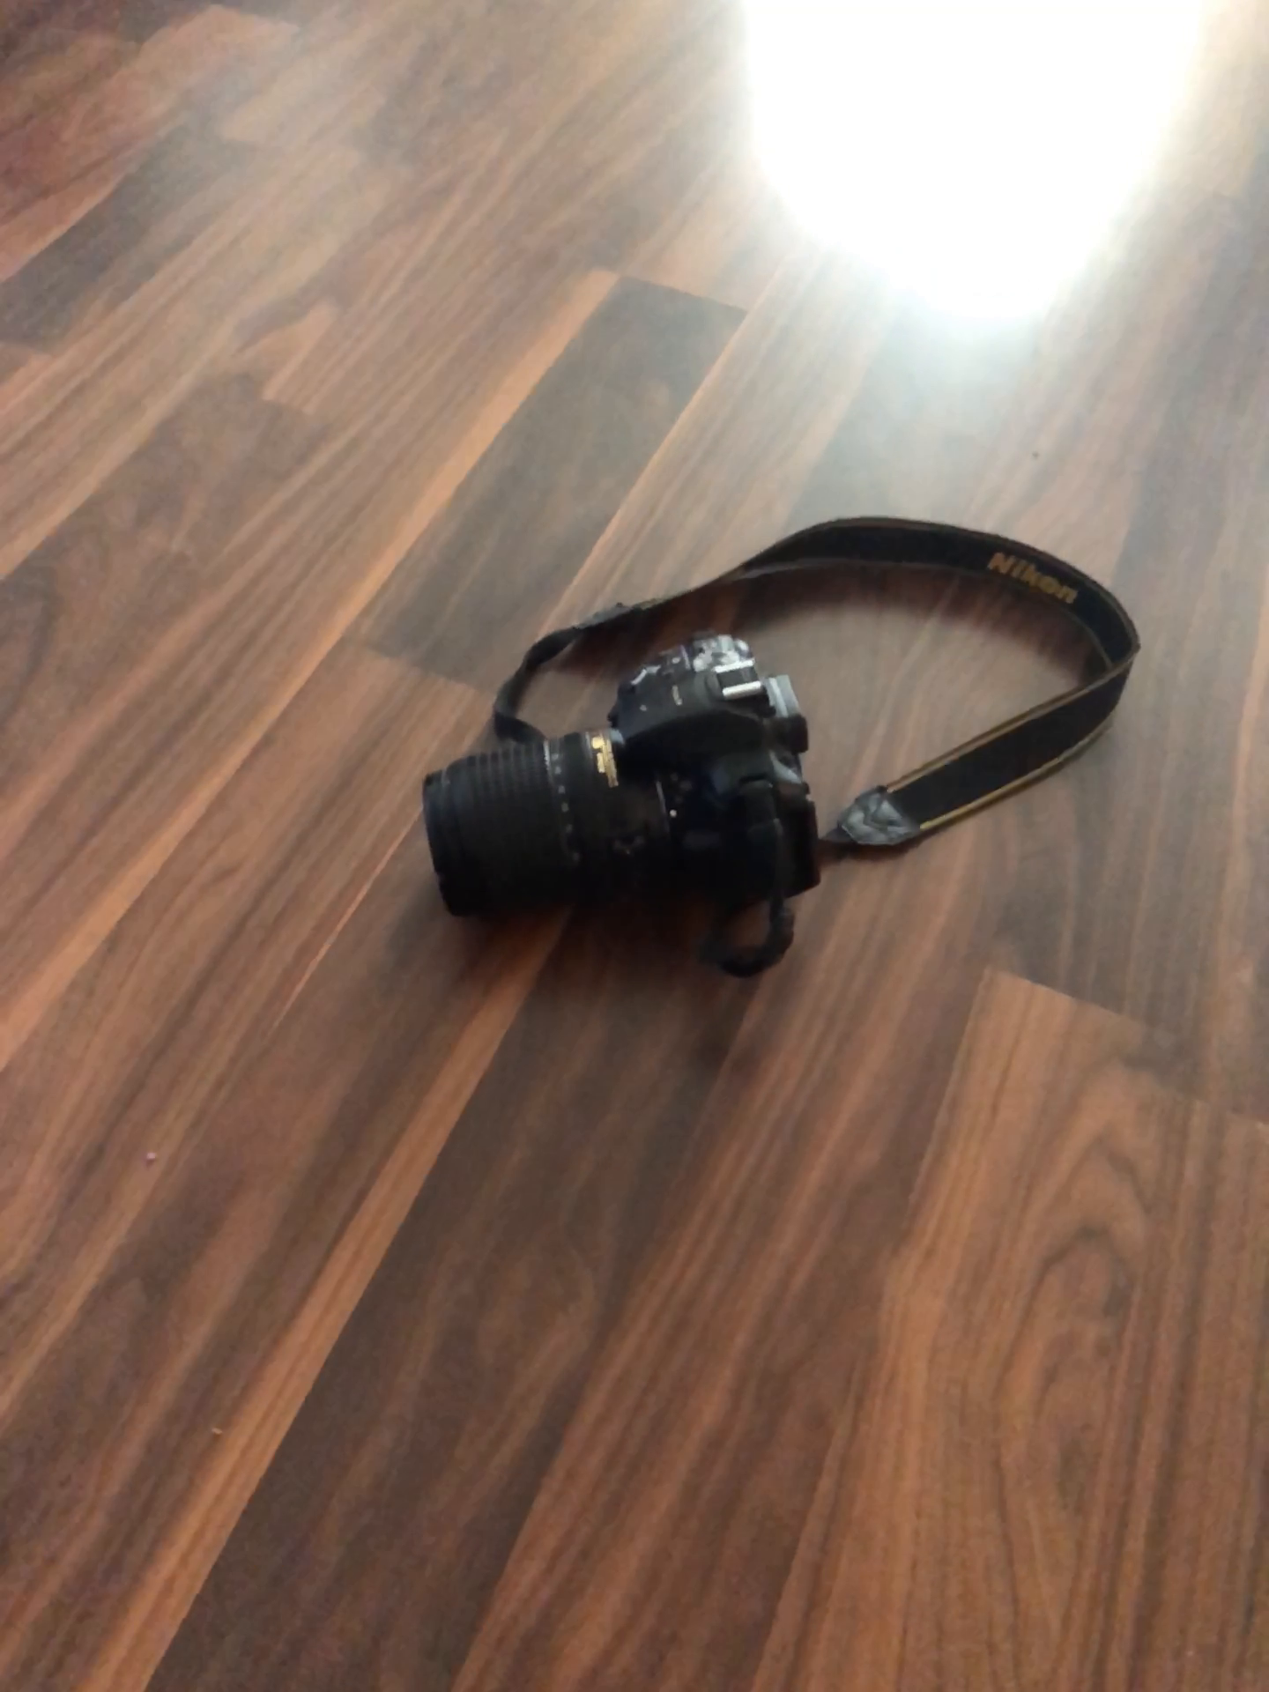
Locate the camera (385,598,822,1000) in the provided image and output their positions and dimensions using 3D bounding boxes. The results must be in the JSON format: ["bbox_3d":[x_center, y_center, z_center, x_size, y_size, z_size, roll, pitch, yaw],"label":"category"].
[{"bbox_3d":[-0.015,-0.021,0.687,0.180,0.130,0.110,-10,54,-5],"label":"camera"}]
